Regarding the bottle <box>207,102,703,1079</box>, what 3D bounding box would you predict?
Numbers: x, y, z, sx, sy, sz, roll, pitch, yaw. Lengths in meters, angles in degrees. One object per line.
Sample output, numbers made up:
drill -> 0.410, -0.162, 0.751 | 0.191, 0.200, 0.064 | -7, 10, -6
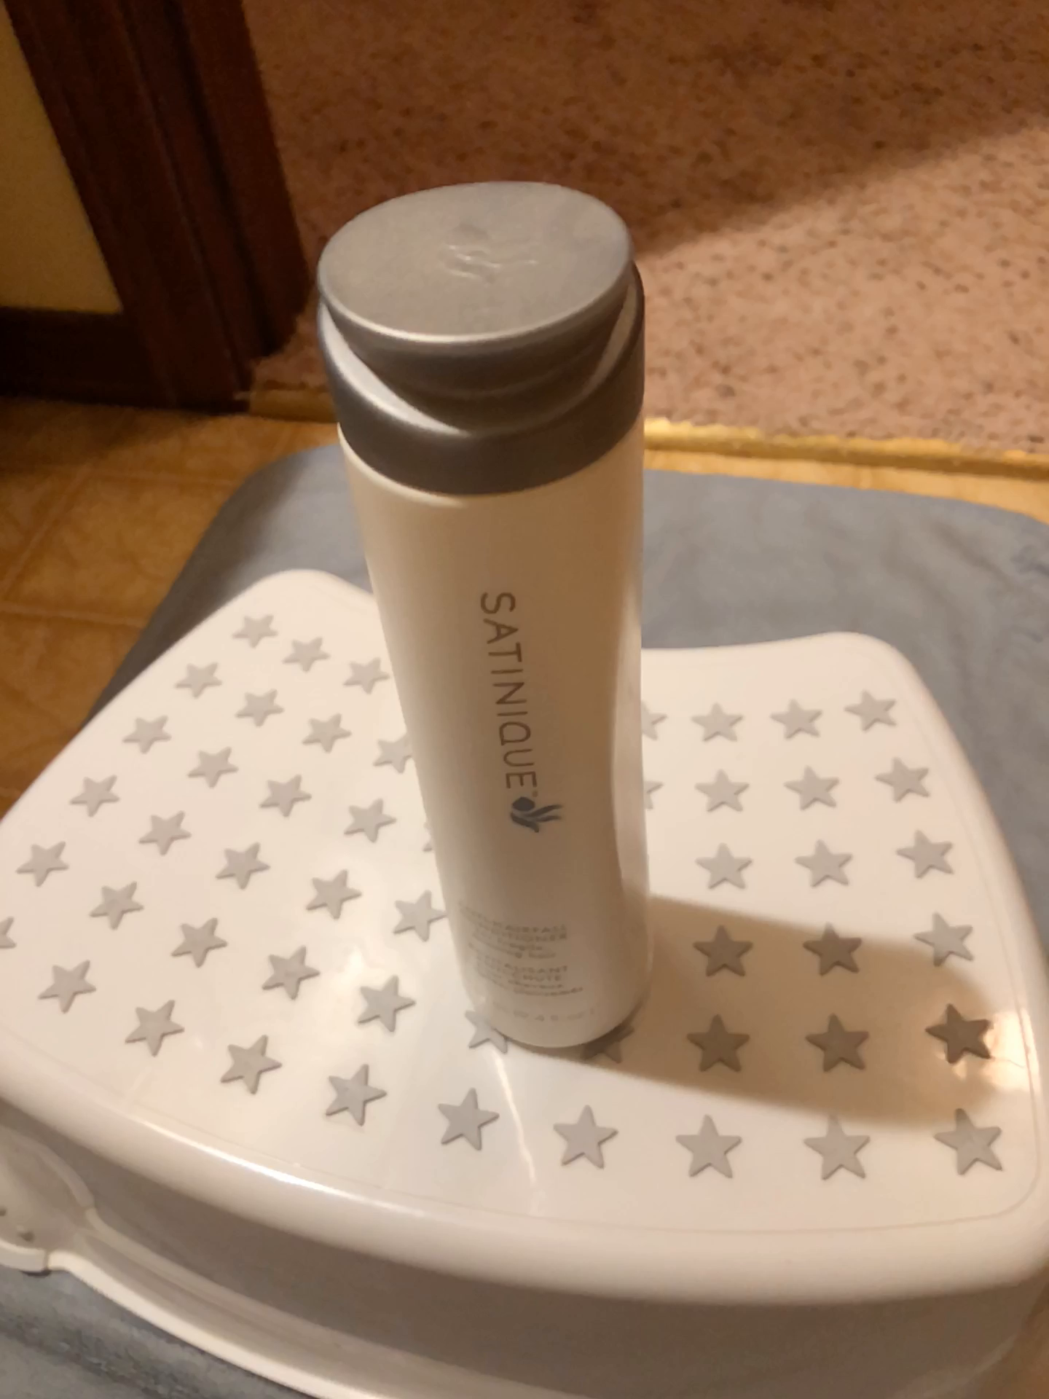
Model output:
bottle -> 0.001, 0.002, 0.233 | 0.050, 0.210, 0.050 | -3, 49, 4
